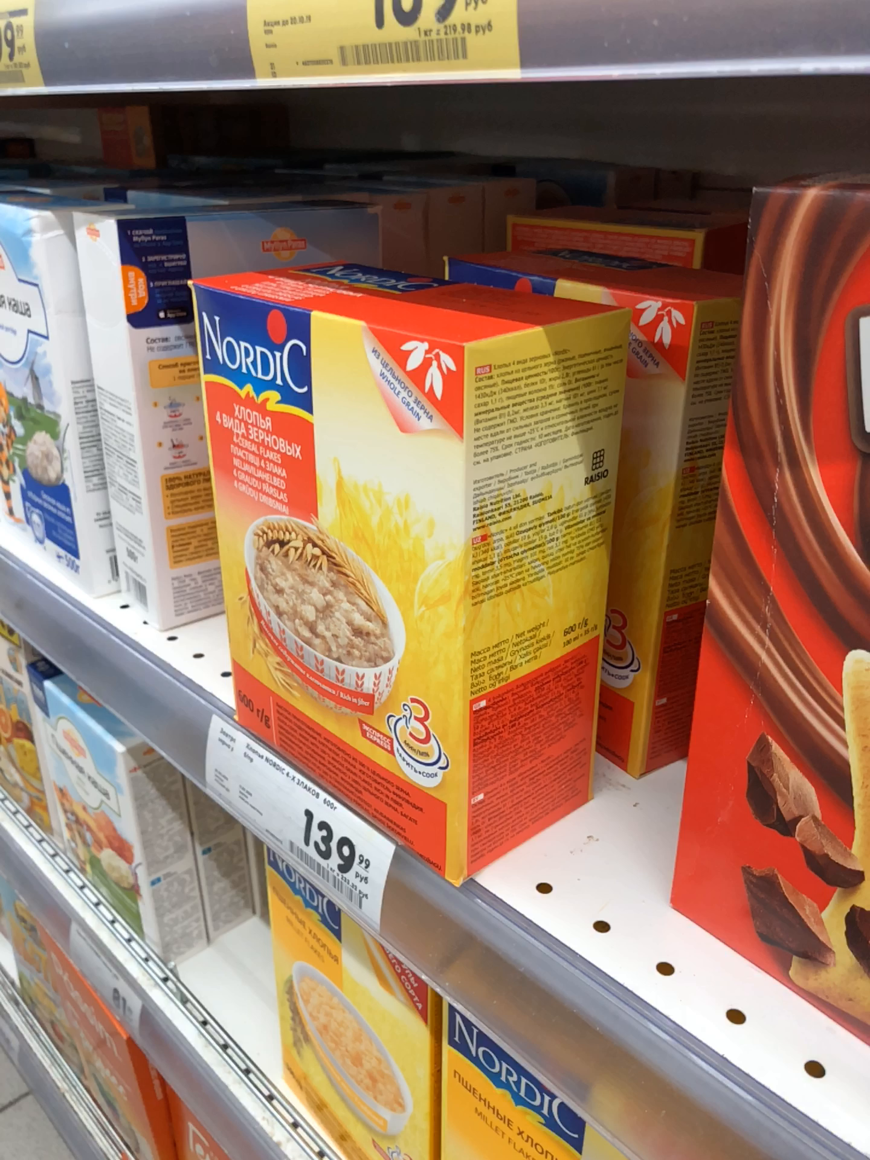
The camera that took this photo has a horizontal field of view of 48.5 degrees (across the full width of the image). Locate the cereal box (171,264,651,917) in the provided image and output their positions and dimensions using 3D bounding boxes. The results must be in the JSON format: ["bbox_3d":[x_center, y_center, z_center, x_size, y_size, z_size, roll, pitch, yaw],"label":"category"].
[{"bbox_3d":[-0.014,-0.008,0.359,0.080,0.189,0.150,-21,32,-38],"label":"cereal box"}]
